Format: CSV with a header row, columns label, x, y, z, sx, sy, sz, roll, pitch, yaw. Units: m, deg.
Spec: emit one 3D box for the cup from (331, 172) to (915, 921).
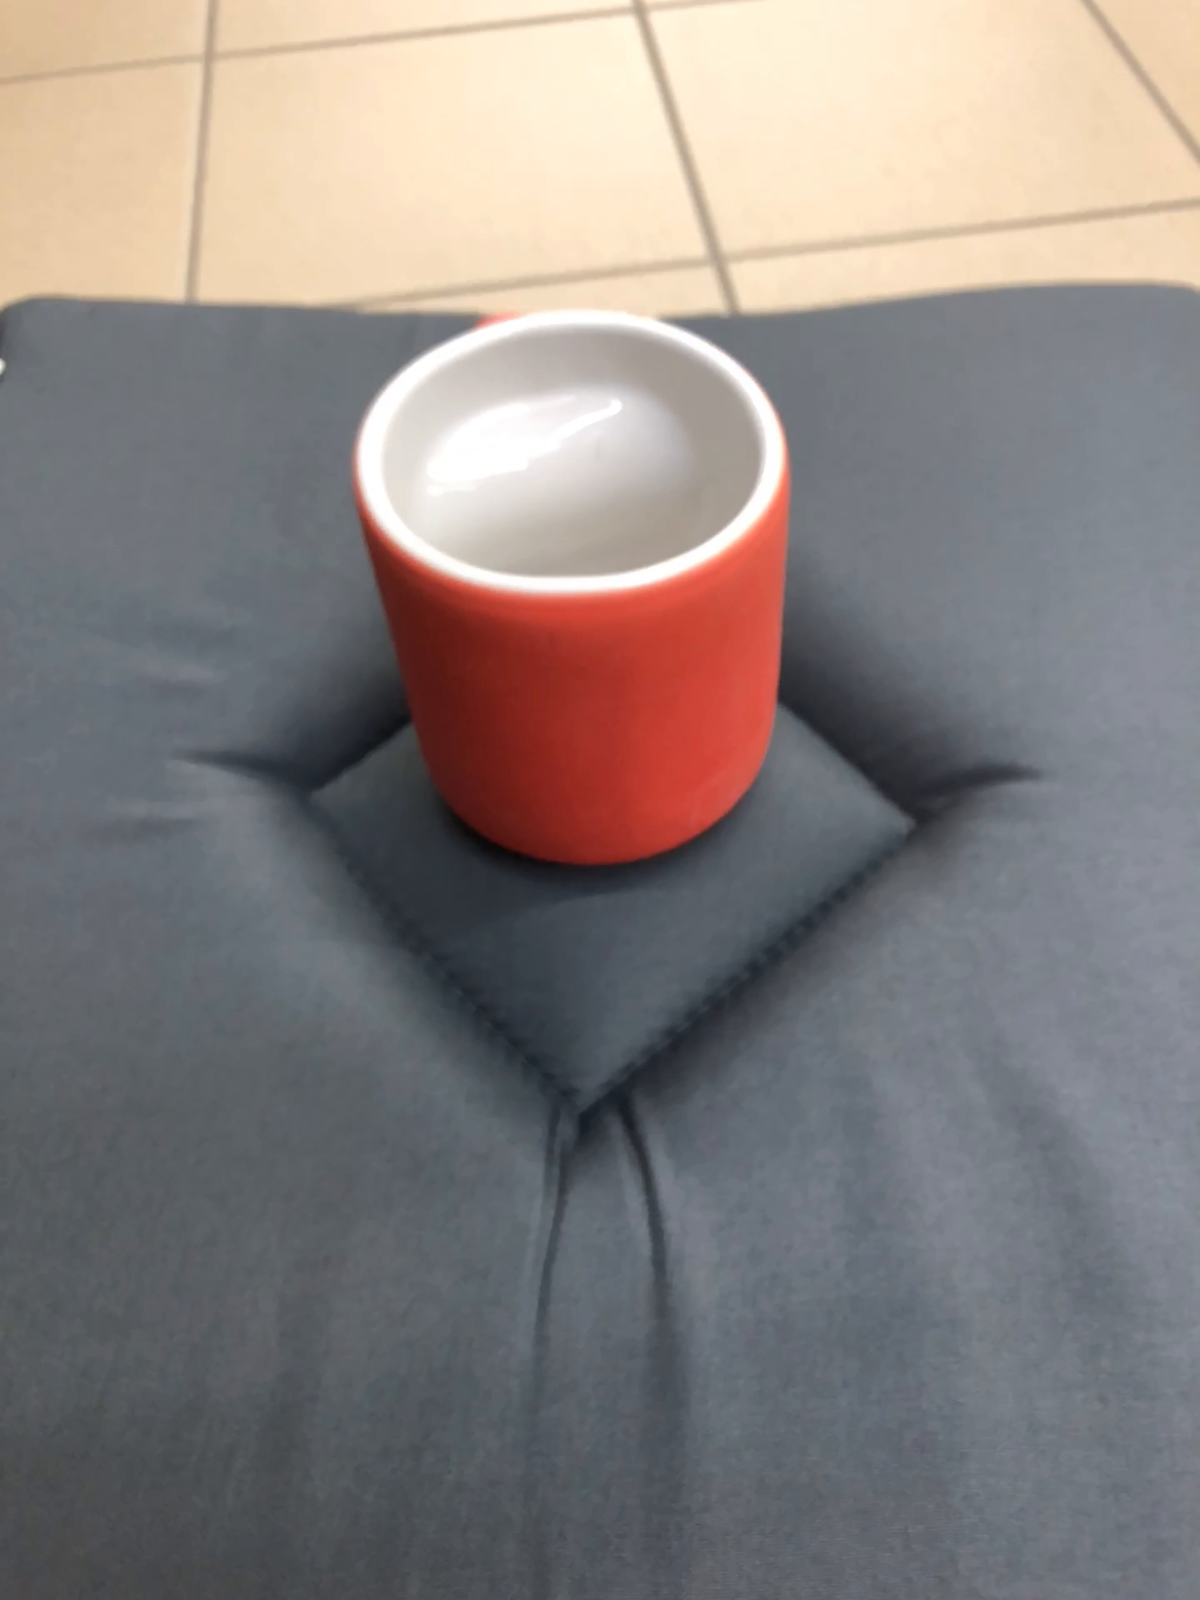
label,x,y,z,sx,sy,sz,roll,pitch,yaw
cup,0.000,-0.056,0.295,0.090,0.090,0.121,-10,56,-4
